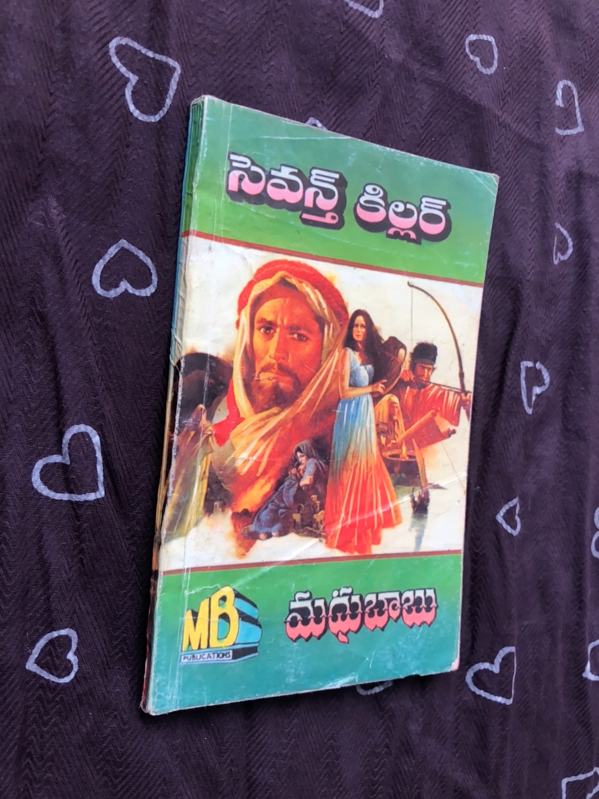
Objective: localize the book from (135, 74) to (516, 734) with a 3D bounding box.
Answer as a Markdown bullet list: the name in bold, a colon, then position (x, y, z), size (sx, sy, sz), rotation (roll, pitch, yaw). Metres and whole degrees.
- **book**: position (0.013, 0.004, 0.181), size (0.100, 0.010, 0.150), rotation (5, 89, -28)
